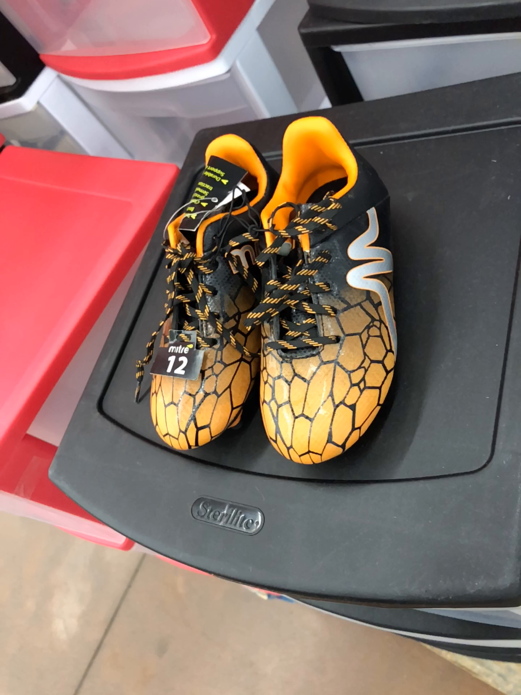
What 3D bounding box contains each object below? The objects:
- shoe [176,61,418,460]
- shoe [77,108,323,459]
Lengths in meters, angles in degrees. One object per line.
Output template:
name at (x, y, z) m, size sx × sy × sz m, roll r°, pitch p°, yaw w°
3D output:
shoe at (0.030, -0.048, 0.319) m, size 0.080 × 0.070 × 0.200 m, roll -3°, pitch 61°, yaw 29°
shoe at (-0.028, -0.041, 0.372) m, size 0.080 × 0.080 × 0.200 m, roll -2°, pitch 62°, yaw 30°
